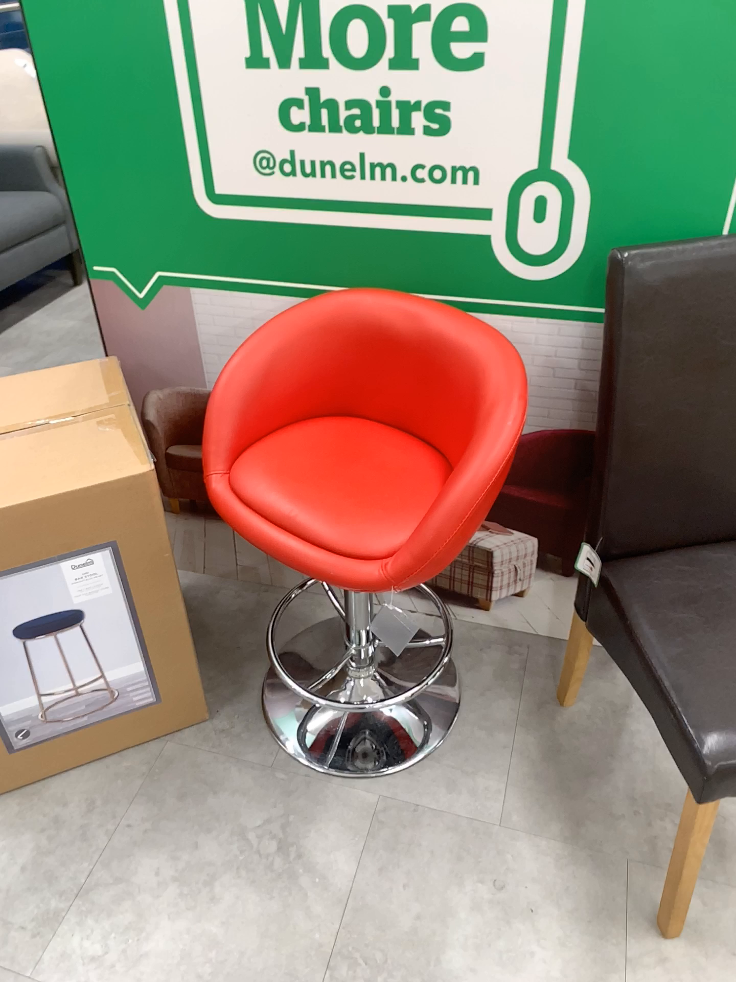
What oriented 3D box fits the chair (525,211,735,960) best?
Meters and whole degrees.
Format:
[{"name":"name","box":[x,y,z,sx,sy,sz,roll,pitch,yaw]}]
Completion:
[{"name":"chair","box":[0.573,0.153,1.106,0.445,0.919,0.522,-8,36,-7]}]

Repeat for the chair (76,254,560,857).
[{"name":"chair","box":[-0.051,0.086,1.287,0.496,0.761,0.480,23,43,31]}]
